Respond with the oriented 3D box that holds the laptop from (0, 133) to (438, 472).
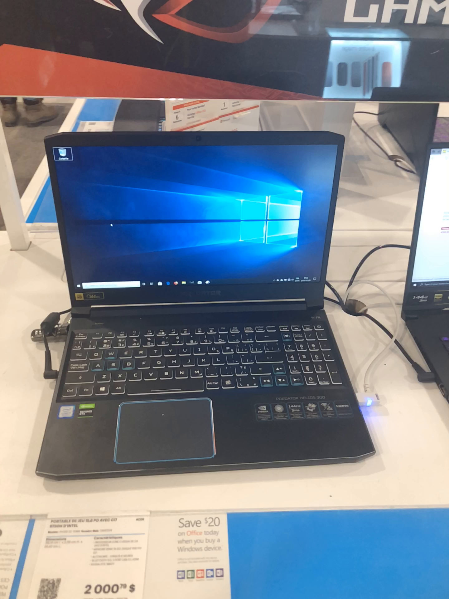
[{"bbox_3d":[-0.022,-0.011,0.541,0.348,0.230,0.274,-2,41,-4],"label":"laptop"}]
